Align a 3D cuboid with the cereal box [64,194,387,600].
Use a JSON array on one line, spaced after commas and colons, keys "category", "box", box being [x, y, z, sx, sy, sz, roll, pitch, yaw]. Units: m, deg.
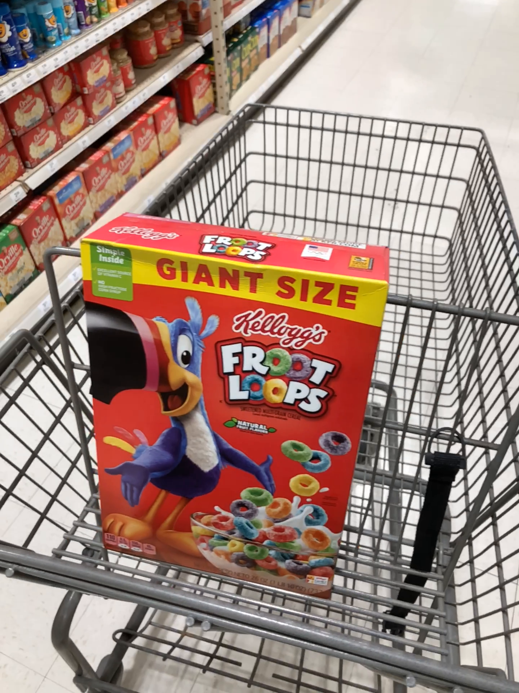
[{"category": "cereal box", "box": [-0.038, 0.060, 0.572, 0.260, 0.369, 0.090, 10, 28, 8]}]
